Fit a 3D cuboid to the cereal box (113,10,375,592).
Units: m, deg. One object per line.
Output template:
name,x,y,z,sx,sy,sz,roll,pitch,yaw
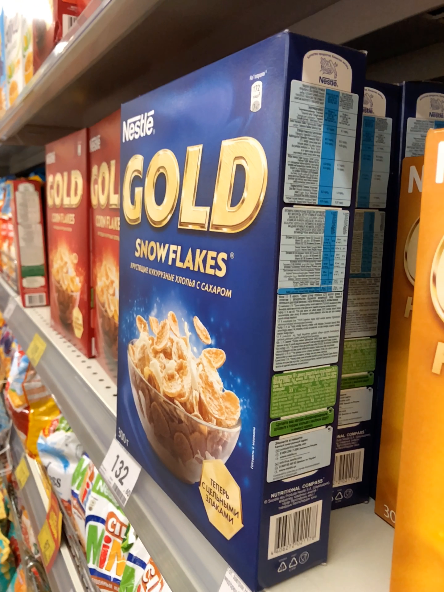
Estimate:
cereal box,-0.010,0.002,0.313,0.050,0.269,0.200,-2,9,-32
